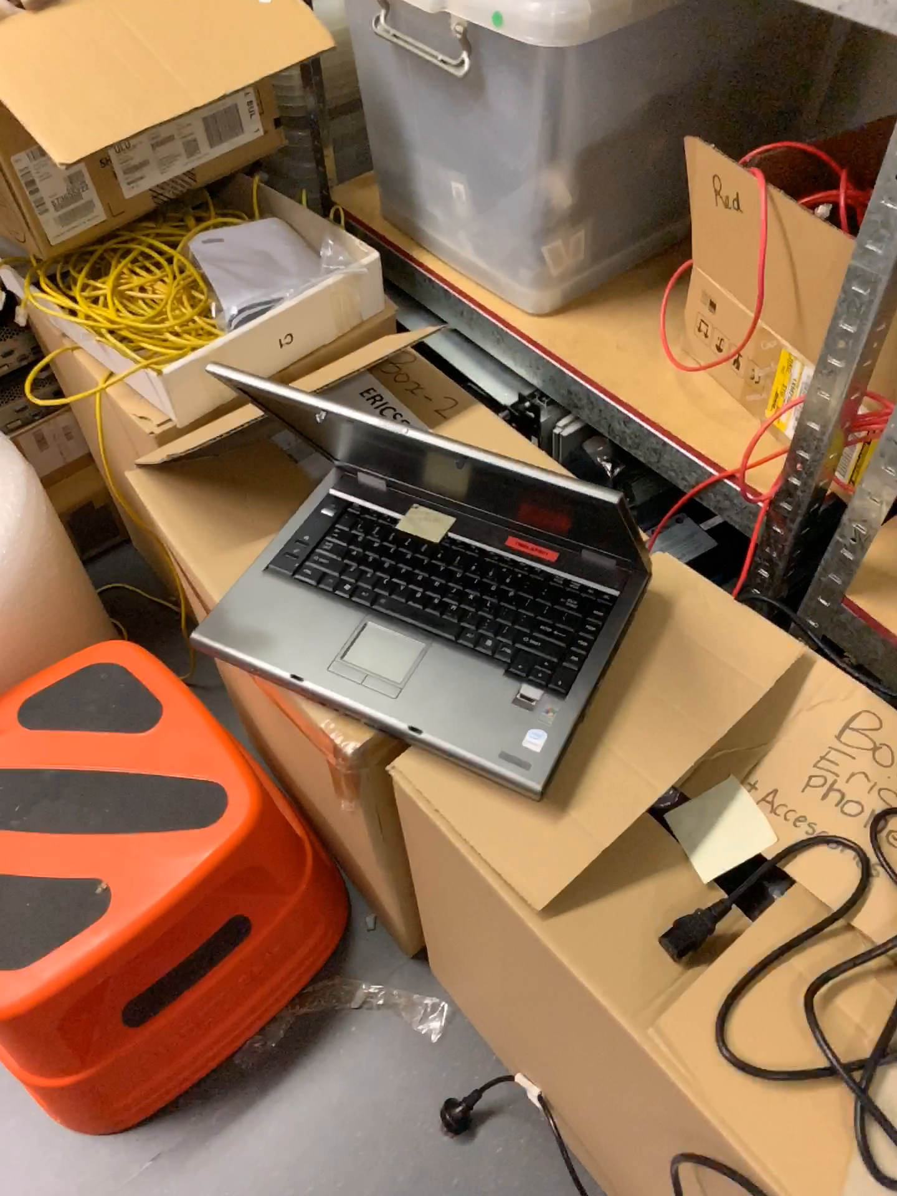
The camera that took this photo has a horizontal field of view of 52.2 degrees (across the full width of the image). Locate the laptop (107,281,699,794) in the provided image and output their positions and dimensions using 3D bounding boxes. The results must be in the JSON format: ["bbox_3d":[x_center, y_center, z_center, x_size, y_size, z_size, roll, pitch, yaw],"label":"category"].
[{"bbox_3d":[-0.026,-0.063,0.773,0.361,0.238,0.263,21,54,19],"label":"laptop"}]
